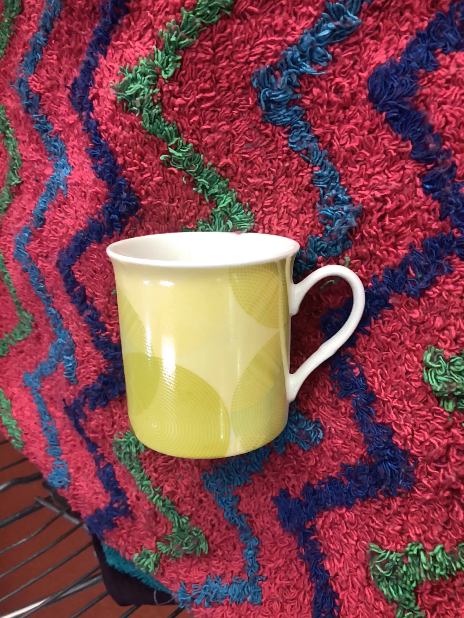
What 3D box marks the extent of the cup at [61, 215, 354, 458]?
[{"bbox_3d":[-0.004,0.007,0.242,0.110,0.080,0.090,-1,105,7],"label":"cup"}]
